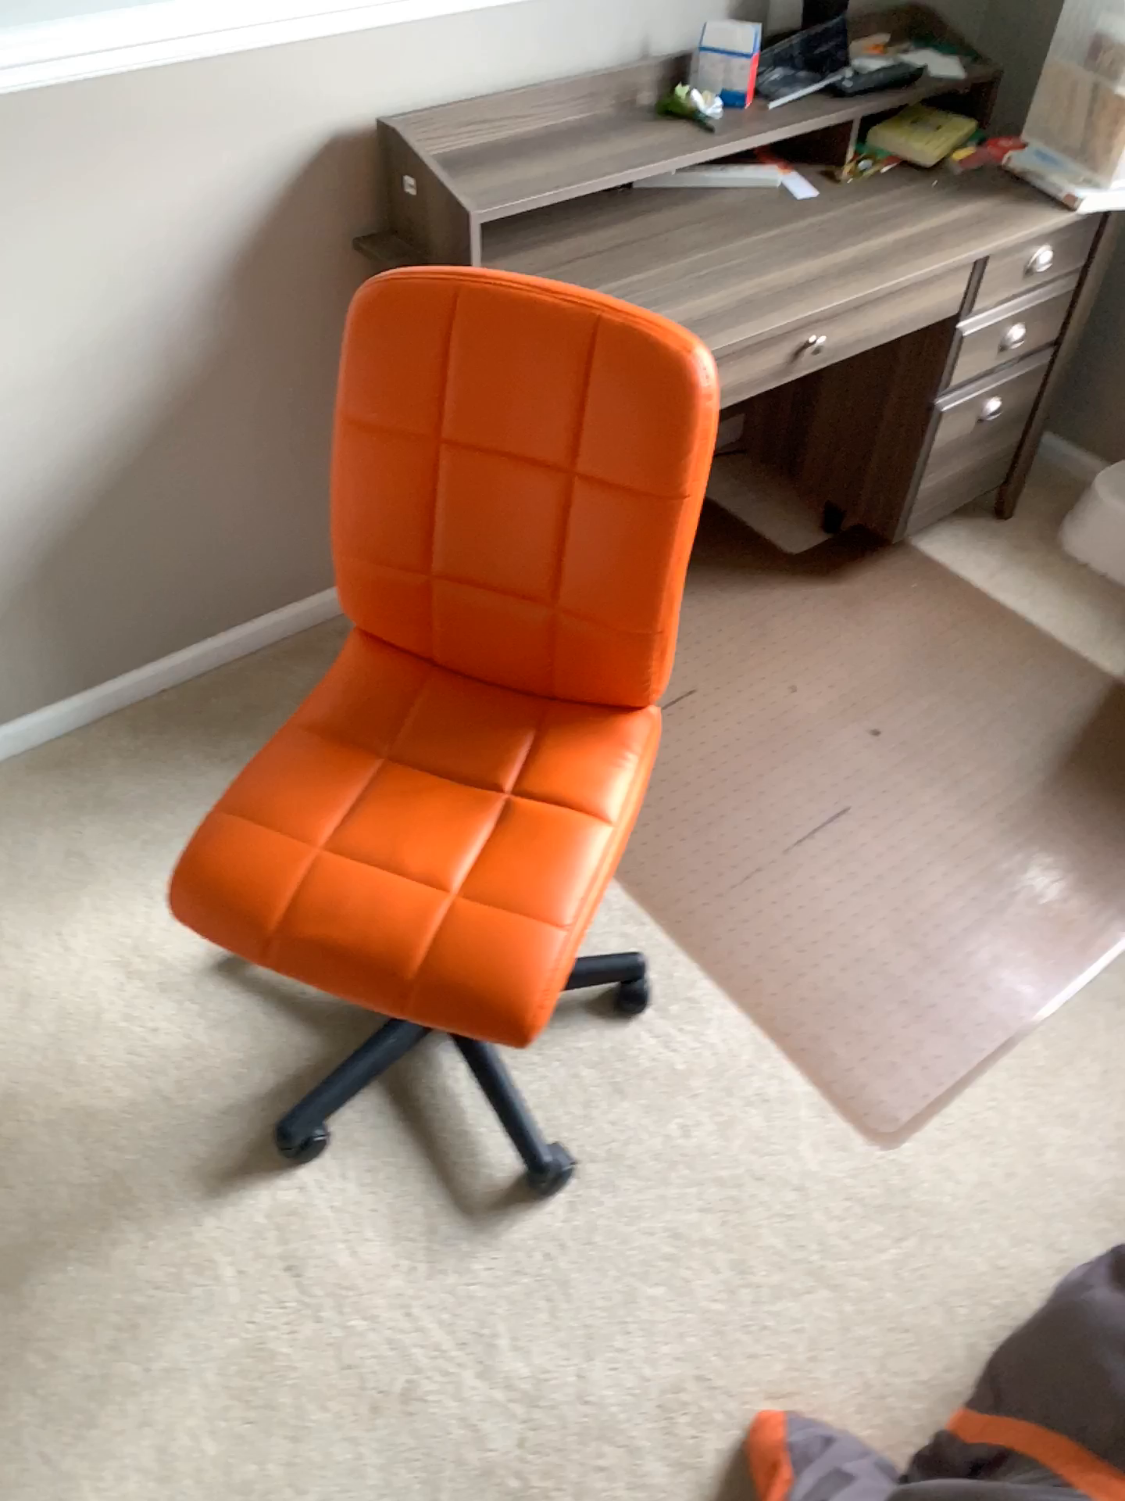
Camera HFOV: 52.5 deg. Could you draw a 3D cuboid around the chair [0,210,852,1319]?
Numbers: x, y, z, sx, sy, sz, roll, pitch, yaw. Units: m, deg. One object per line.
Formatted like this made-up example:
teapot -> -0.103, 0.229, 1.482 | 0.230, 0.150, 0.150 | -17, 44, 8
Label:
chair -> -0.153, 0.042, 1.245 | 0.593, 0.905, 0.603 | 21, 49, 16
